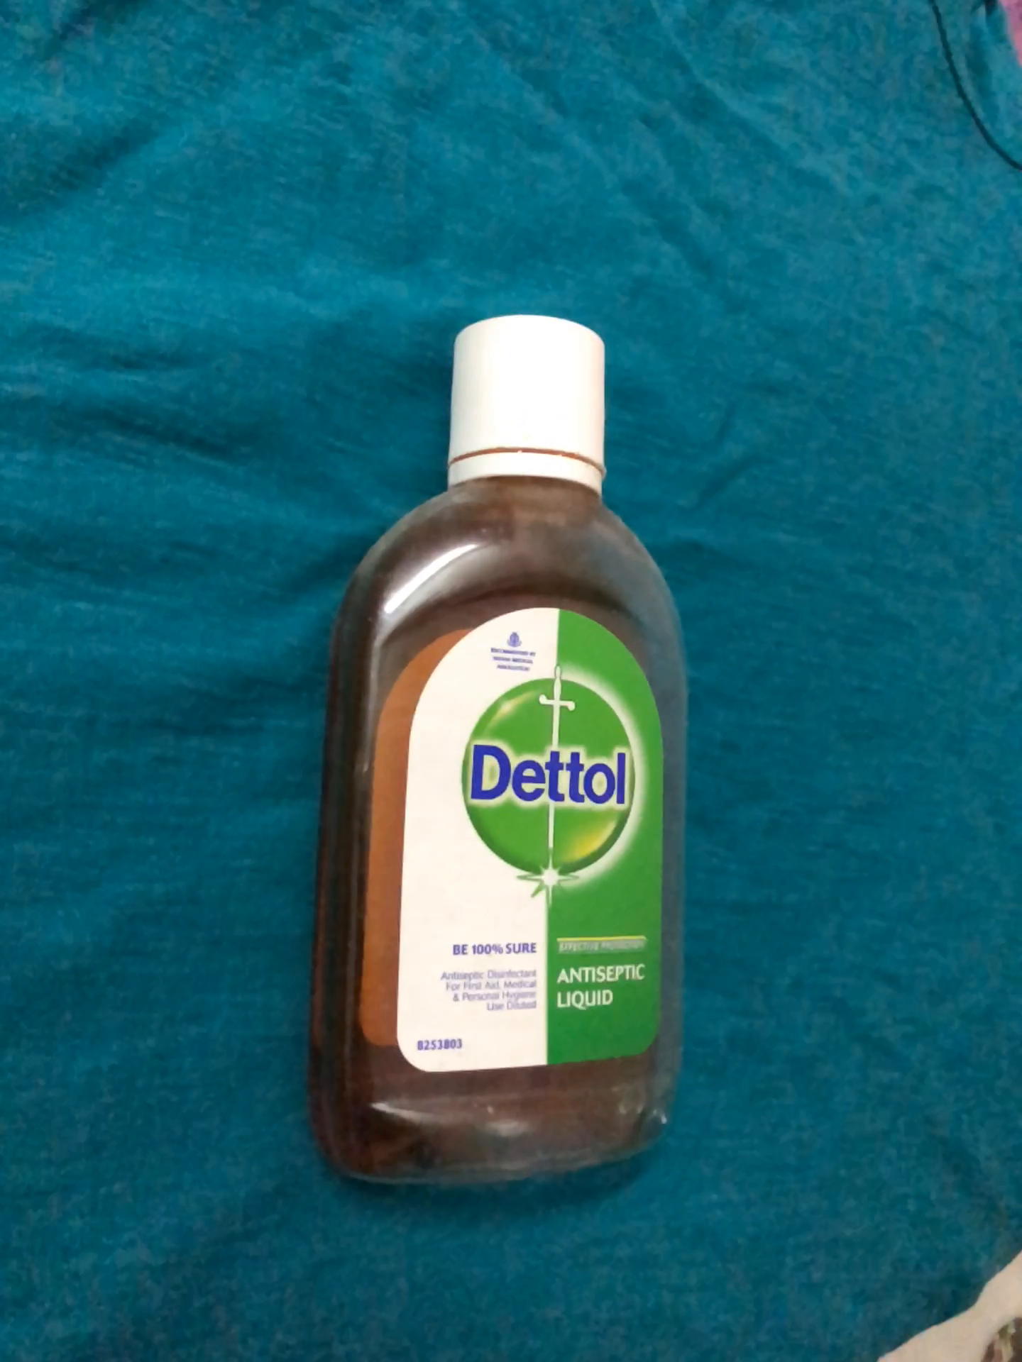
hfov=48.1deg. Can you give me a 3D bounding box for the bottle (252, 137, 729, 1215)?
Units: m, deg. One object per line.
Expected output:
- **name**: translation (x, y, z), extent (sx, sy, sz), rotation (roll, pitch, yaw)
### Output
- **bottle**: translation (-0.001, -0.001, 0.227), extent (0.080, 0.040, 0.180), rotation (6, 80, -33)
